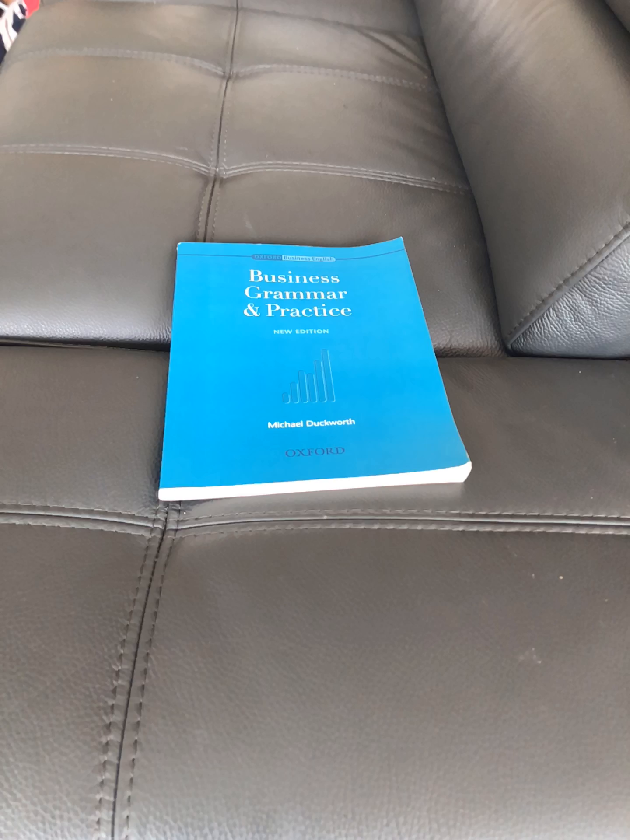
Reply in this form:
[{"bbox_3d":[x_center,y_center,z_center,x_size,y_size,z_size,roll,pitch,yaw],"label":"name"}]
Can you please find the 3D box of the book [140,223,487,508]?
[{"bbox_3d":[-0.012,-0.062,0.551,0.230,0.020,0.281,-3,50,-4],"label":"book"}]
